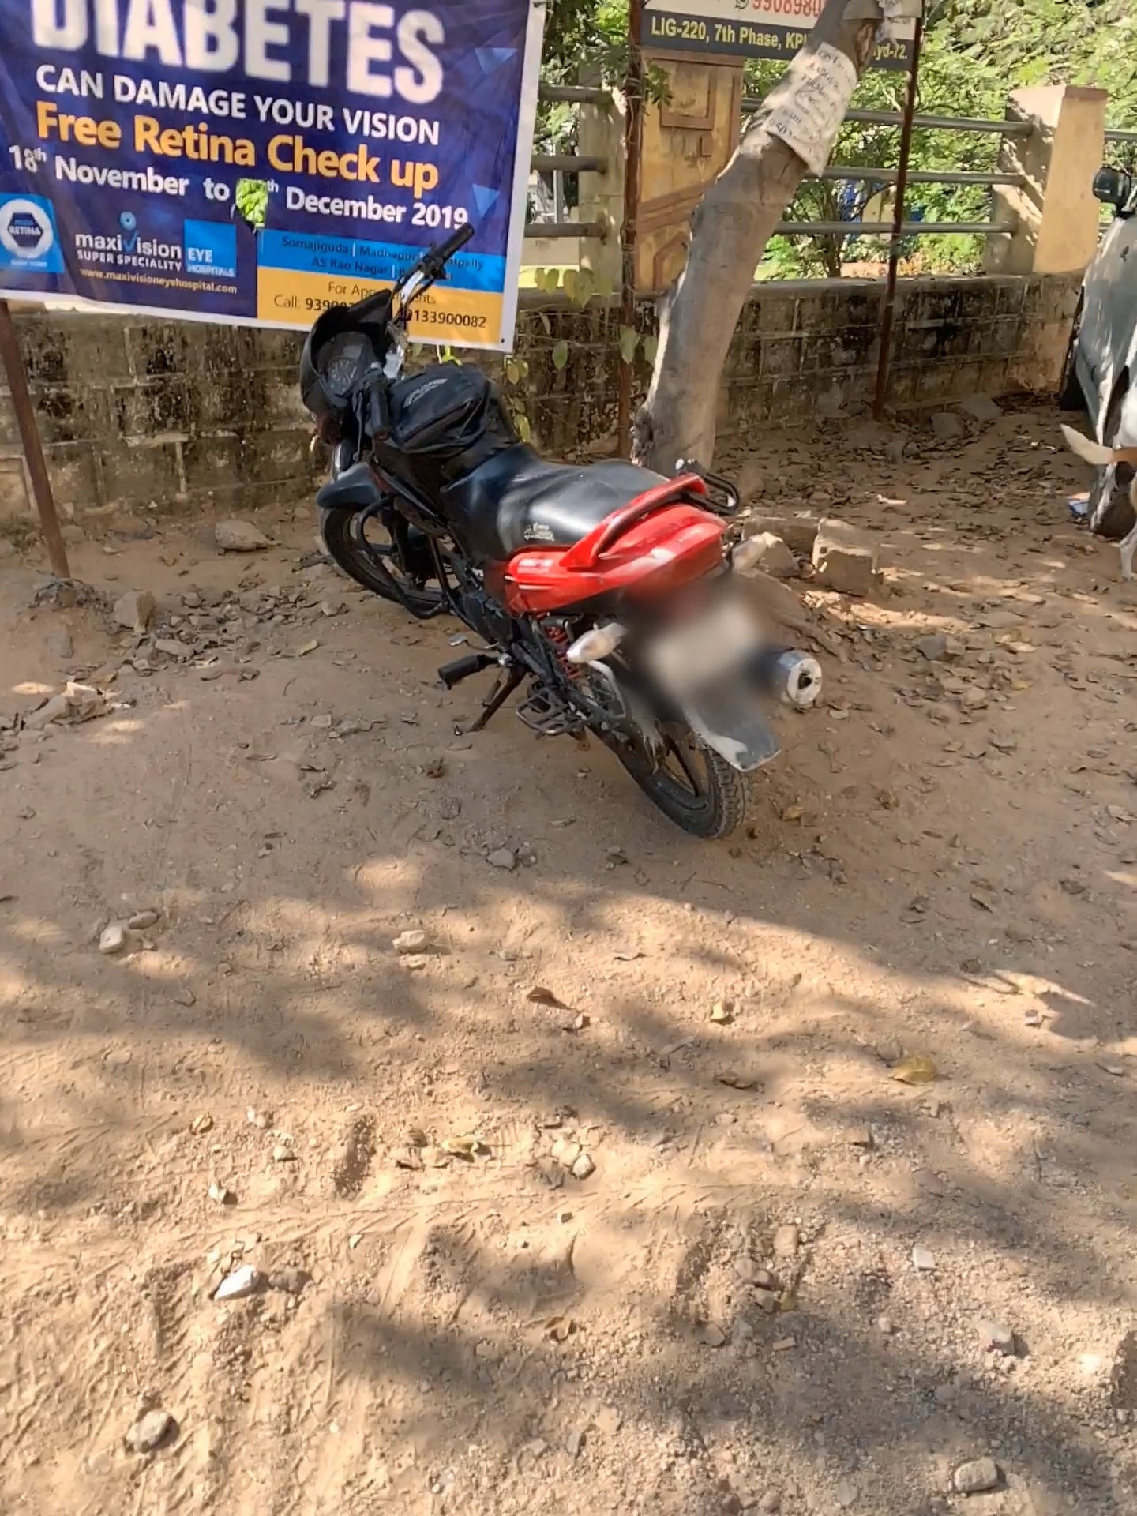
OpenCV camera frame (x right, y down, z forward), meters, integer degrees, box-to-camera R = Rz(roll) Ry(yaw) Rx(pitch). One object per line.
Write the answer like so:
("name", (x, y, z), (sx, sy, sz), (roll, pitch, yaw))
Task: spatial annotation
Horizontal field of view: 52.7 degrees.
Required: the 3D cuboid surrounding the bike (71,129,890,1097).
("bike", (-0.291, -0.477, 2.533), (0.753, 1.442, 1.621), (-18, 35, -34))
